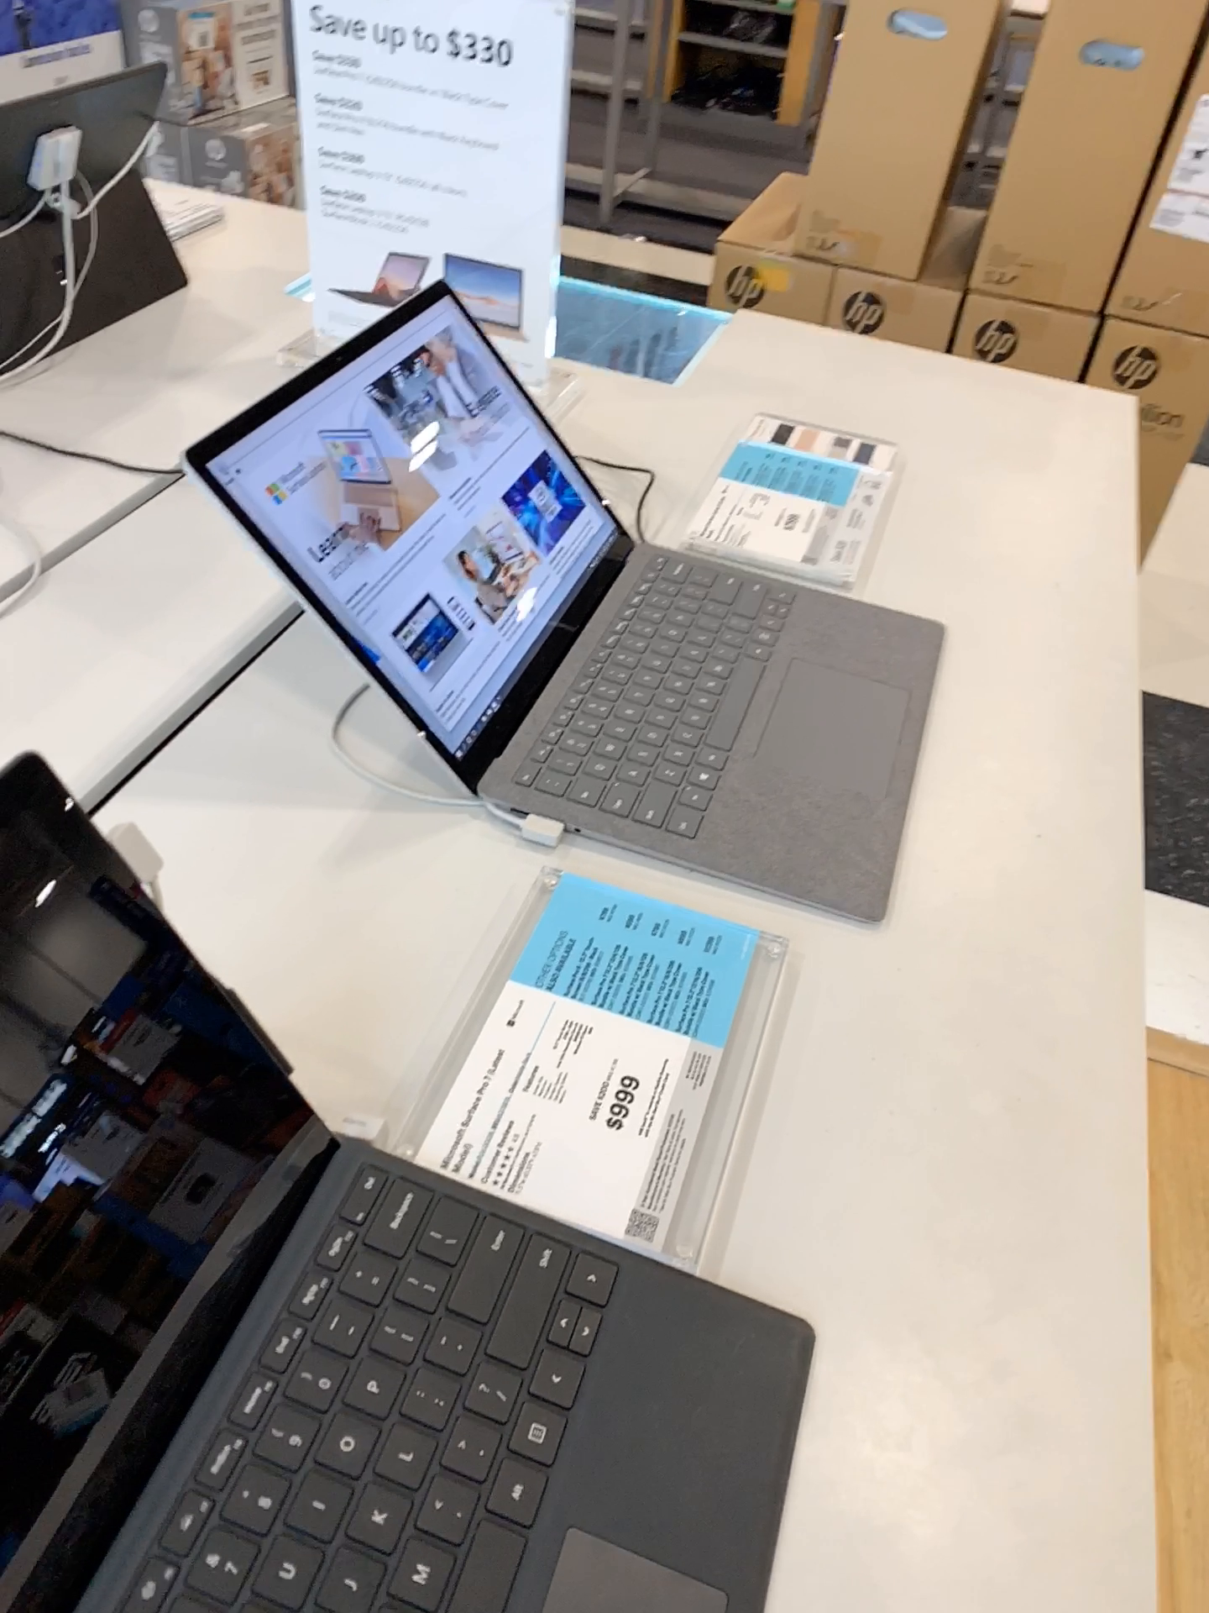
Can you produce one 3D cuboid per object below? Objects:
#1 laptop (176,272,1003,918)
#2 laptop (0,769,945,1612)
[{"bbox_3d":[0.013,-0.145,0.709,0.374,0.148,0.297,18,41,9],"label":"laptop"},{"bbox_3d":[-0.093,0.171,0.303,0.290,0.157,0.290,15,40,7],"label":"laptop"}]
